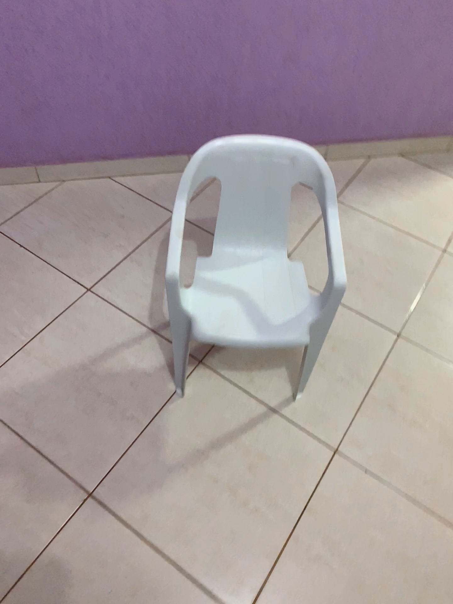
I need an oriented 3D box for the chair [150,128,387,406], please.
[{"bbox_3d":[0.054,-0.043,1.128,0.400,0.595,0.363,1,53,-3],"label":"chair"}]
